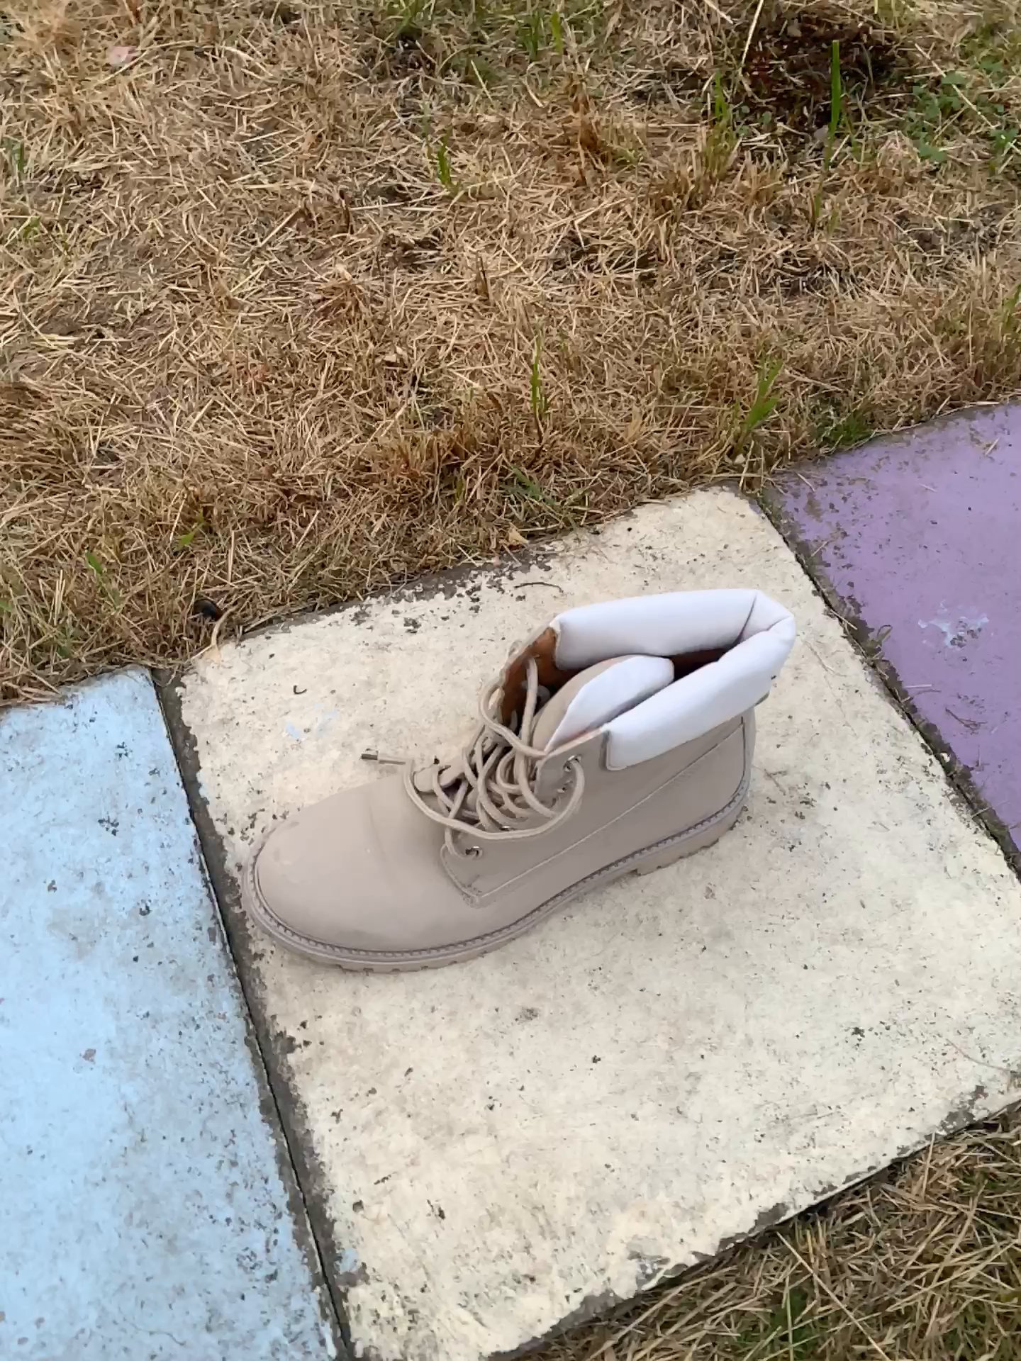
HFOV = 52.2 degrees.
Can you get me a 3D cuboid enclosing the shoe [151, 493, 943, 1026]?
[{"bbox_3d":[0.010,0.045,0.475,0.280,0.199,0.101,-14,62,-12],"label":"shoe"}]
